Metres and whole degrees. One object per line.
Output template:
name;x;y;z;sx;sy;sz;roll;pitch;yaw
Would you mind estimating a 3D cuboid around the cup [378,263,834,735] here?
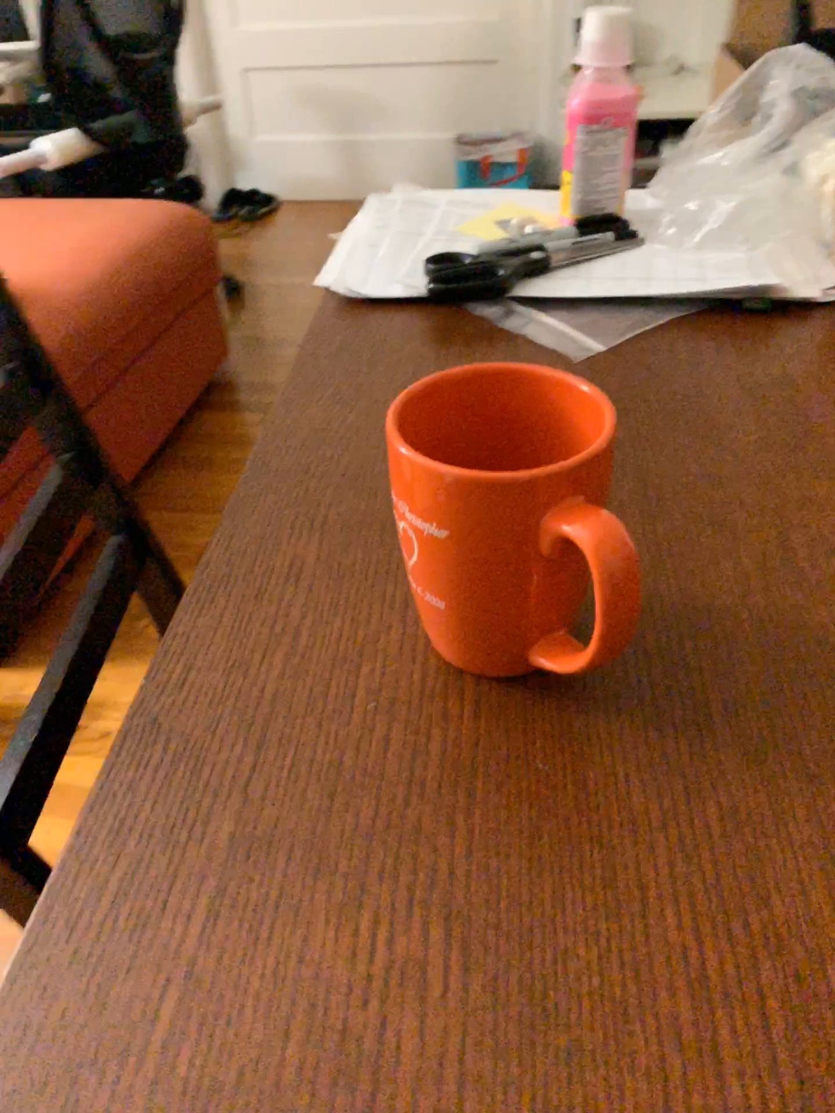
cup;0.066;-0.031;0.336;0.100;0.109;0.131;-25;43;-24
